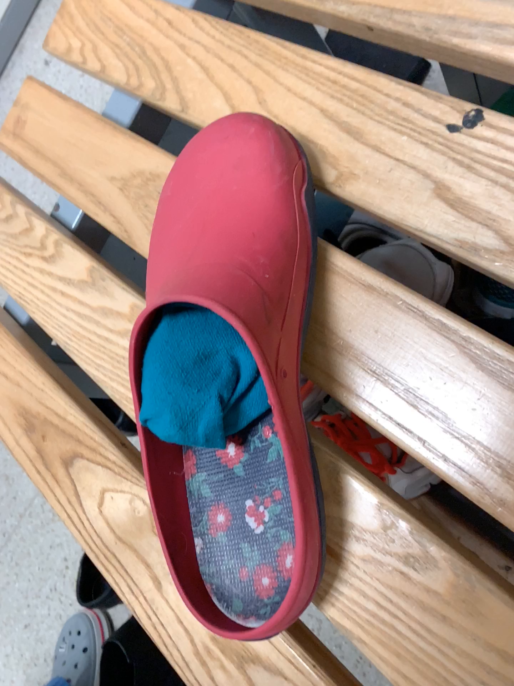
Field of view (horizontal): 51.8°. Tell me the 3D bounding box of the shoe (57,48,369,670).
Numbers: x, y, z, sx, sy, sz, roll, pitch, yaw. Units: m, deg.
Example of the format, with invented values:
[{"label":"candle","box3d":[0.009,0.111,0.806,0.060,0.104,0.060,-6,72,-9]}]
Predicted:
[{"label":"shoe","box3d":[-0.027,0.006,0.256,0.106,0.077,0.239,-13,75,28]}]
